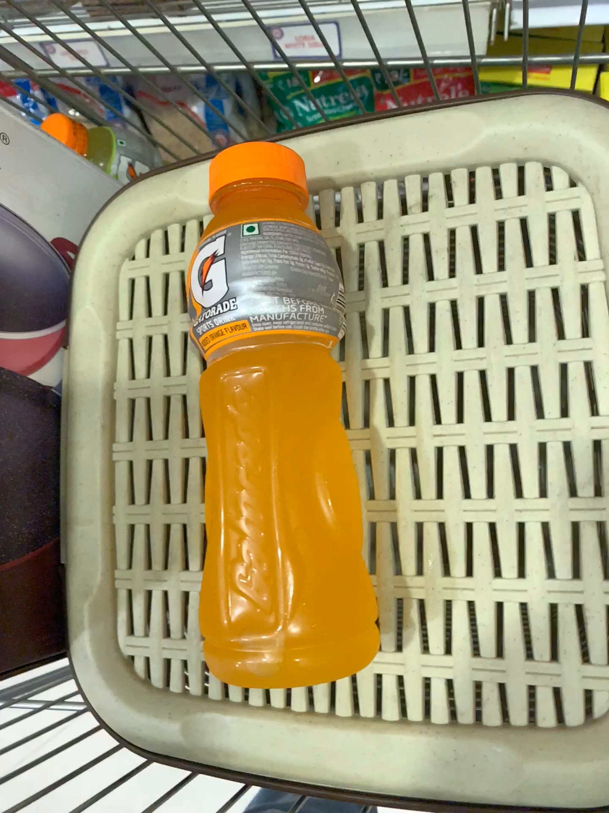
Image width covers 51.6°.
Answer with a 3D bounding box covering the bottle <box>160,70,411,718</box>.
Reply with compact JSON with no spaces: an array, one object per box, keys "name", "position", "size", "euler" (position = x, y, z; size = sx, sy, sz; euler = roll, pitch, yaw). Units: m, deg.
[{"name":"bottle","position":[-0.011,-0.006,0.242],"size":[0.060,0.060,0.210],"euler":[-14,76,46]}]
